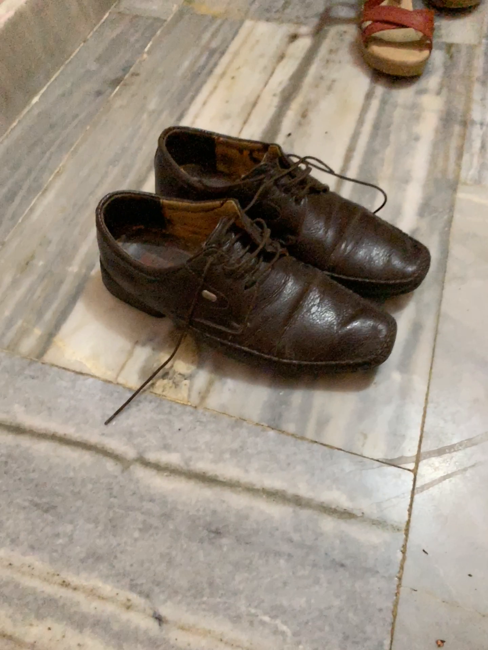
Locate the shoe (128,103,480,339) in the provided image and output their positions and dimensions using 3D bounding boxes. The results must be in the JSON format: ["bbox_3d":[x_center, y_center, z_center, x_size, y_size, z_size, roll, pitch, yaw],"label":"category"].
[{"bbox_3d":[0.049,-0.103,0.477,0.283,0.110,0.100,20,61,16],"label":"shoe"}]

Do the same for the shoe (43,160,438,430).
[{"bbox_3d":[-0.006,-0.030,0.426,0.283,0.110,0.100,20,61,16],"label":"shoe"}]
